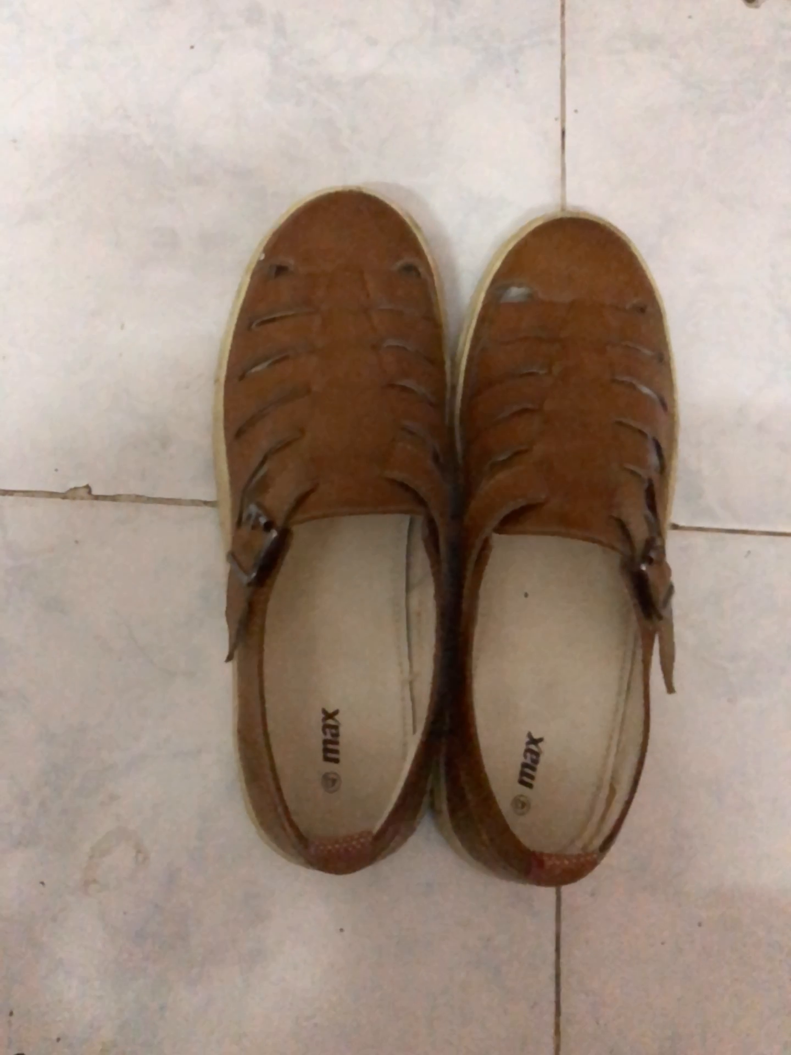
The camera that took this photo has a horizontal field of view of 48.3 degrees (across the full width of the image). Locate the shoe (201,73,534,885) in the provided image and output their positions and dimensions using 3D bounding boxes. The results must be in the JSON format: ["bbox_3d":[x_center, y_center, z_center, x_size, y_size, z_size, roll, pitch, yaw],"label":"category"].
[{"bbox_3d":[-0.017,-0.022,0.369,0.110,0.100,0.300,-1,79,-5],"label":"shoe"}]

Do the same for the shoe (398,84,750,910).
[{"bbox_3d":[0.070,-0.014,0.369,0.110,0.100,0.300,5,78,-4],"label":"shoe"}]
